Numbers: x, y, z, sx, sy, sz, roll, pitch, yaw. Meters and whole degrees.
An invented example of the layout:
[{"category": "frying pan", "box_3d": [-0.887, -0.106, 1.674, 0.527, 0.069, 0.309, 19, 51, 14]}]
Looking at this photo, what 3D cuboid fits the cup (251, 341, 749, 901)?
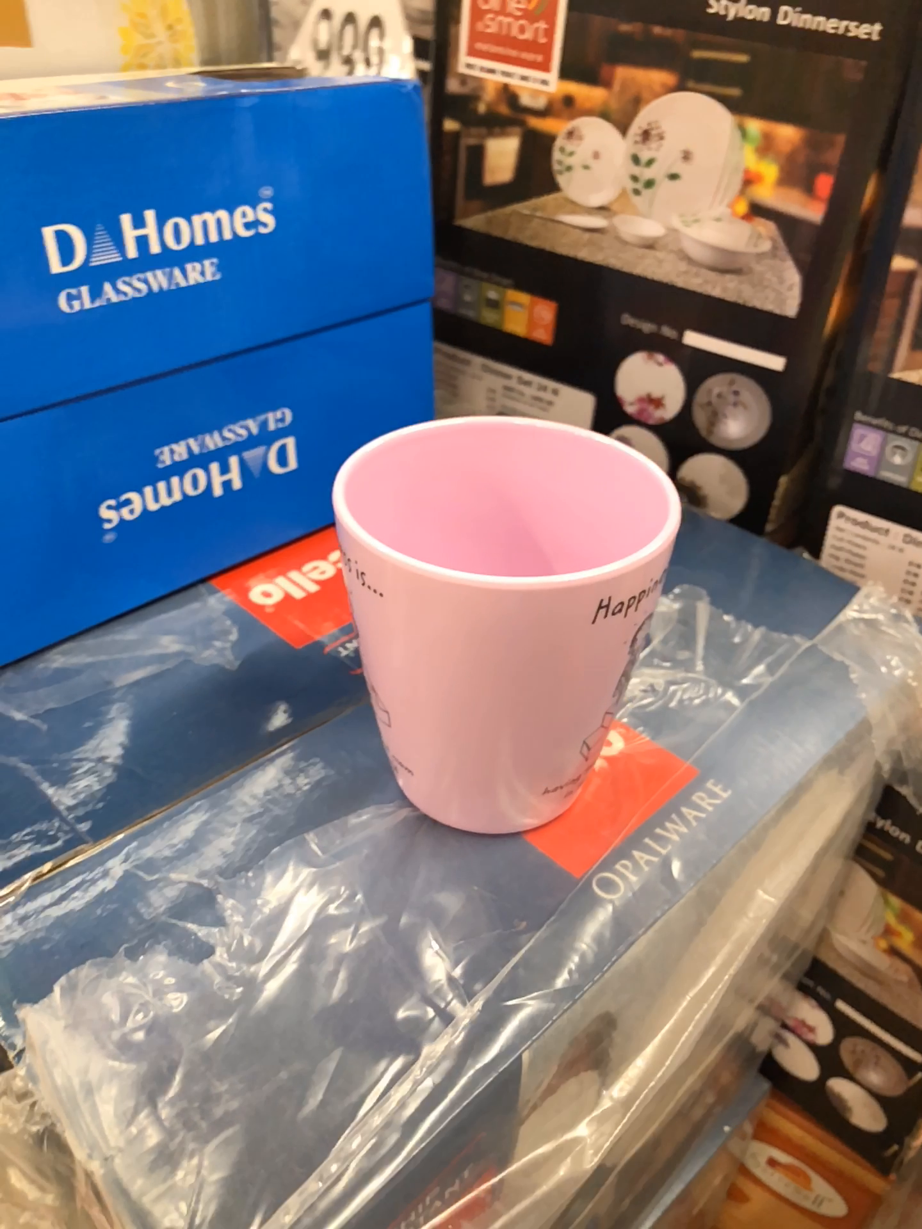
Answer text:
[{"category": "cup", "box_3d": [0.013, -0.006, 0.288, 0.090, 0.089, 0.111, 19, 38, 18]}]
